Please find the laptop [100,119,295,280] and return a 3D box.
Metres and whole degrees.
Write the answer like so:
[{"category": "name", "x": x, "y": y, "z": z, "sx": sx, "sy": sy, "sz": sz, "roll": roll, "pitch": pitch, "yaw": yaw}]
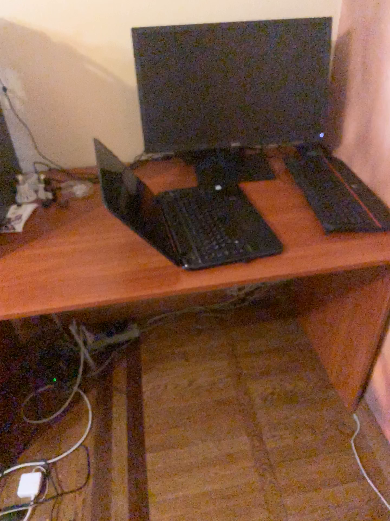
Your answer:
[{"category": "laptop", "x": -0.019, "y": -0.171, "z": 0.978, "sx": 0.368, "sy": 0.181, "sz": 0.368, "roll": -11, "pitch": 38, "yaw": -8}]
